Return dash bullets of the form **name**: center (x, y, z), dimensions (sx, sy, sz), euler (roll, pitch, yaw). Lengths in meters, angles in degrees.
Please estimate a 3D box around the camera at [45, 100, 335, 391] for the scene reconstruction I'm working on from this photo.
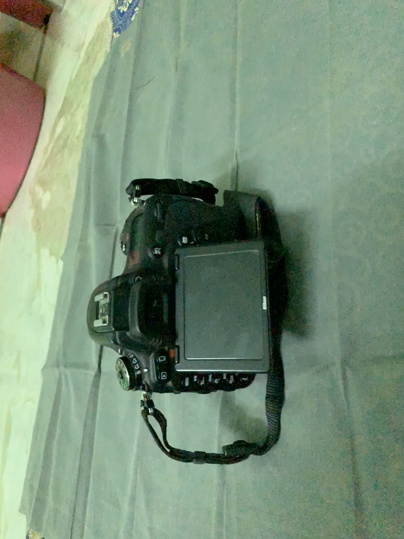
- **camera**: center (-0.025, 0.011, 0.344), dimensions (0.232, 0.099, 0.165), euler (-19, 61, 47)
